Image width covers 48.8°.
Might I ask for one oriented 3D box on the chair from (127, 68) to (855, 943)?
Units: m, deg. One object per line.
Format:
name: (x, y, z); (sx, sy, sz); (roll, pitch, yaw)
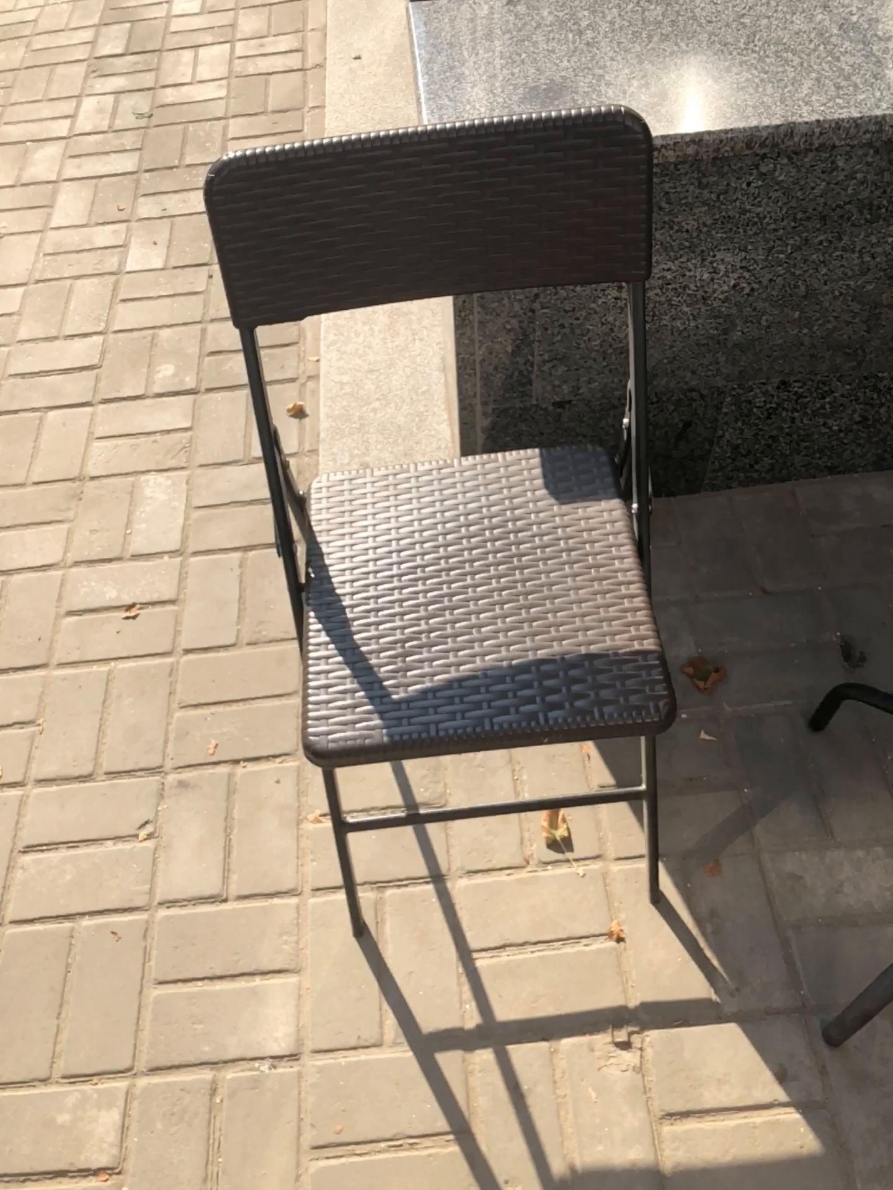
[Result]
chair: (0.020, -0.016, 1.029); (0.430, 0.788, 0.461); (-7, 54, -2)
